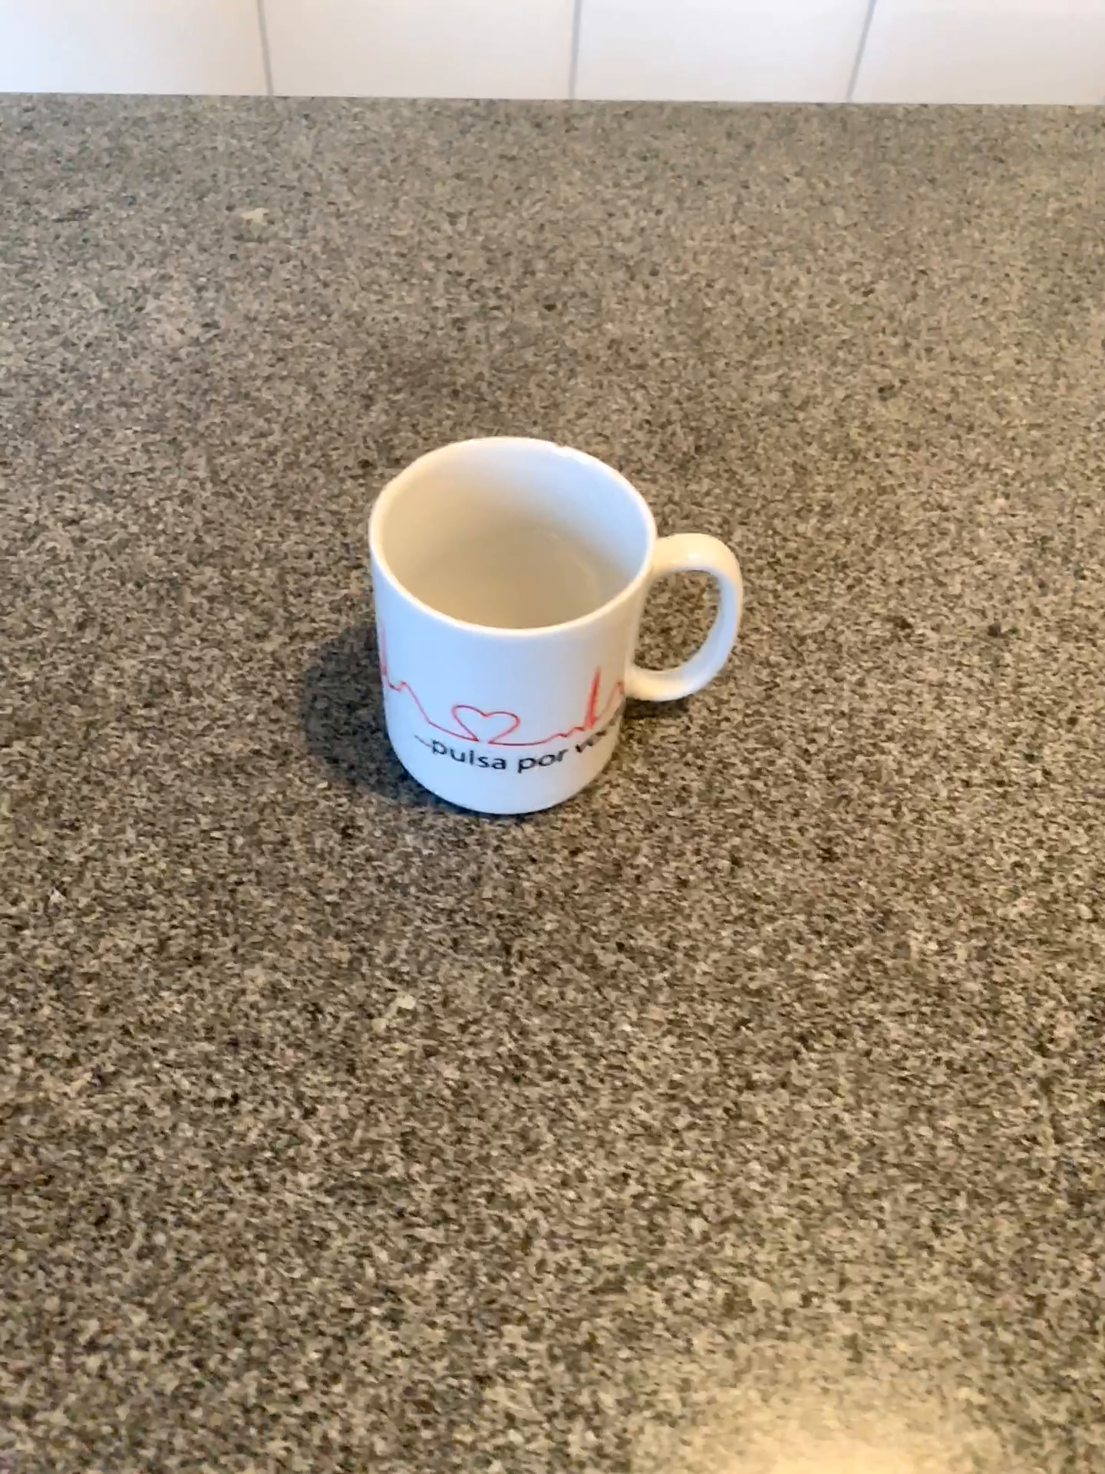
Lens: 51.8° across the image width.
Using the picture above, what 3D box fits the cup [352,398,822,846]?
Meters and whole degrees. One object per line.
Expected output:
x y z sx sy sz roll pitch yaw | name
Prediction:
0.002 -0.035 0.358 0.120 0.100 0.090 -4 53 -8 | cup

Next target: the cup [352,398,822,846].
0.002 -0.035 0.358 0.120 0.100 0.090 -4 53 -8 | cup
